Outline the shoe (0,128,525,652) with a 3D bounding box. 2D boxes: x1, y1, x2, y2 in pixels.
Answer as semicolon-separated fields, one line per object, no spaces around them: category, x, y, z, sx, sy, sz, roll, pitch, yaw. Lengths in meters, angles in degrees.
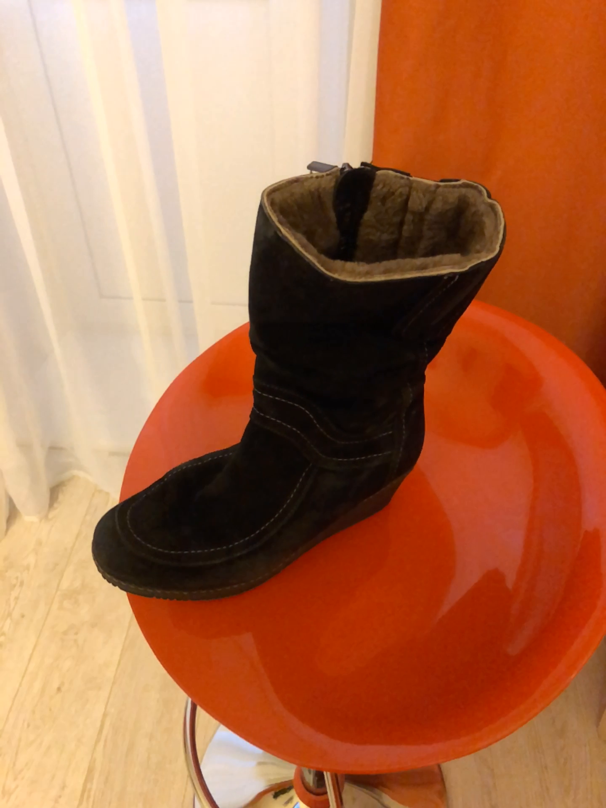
shoe;-0.019;-0.008;0.421;0.261;0.248;0.100;-22;46;-22
